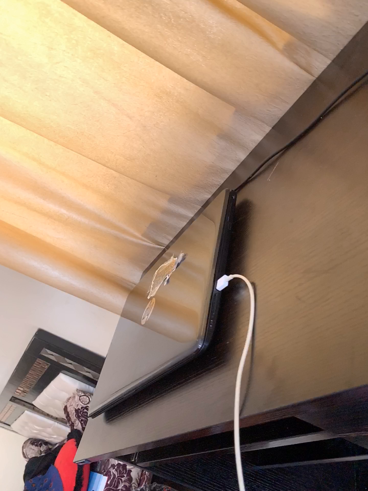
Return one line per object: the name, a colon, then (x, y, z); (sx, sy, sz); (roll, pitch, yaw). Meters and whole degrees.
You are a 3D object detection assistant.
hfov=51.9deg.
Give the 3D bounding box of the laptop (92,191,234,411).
laptop: (-0.044, 0.104, 0.586); (0.373, 0.006, 0.238); (-47, 21, 47)
